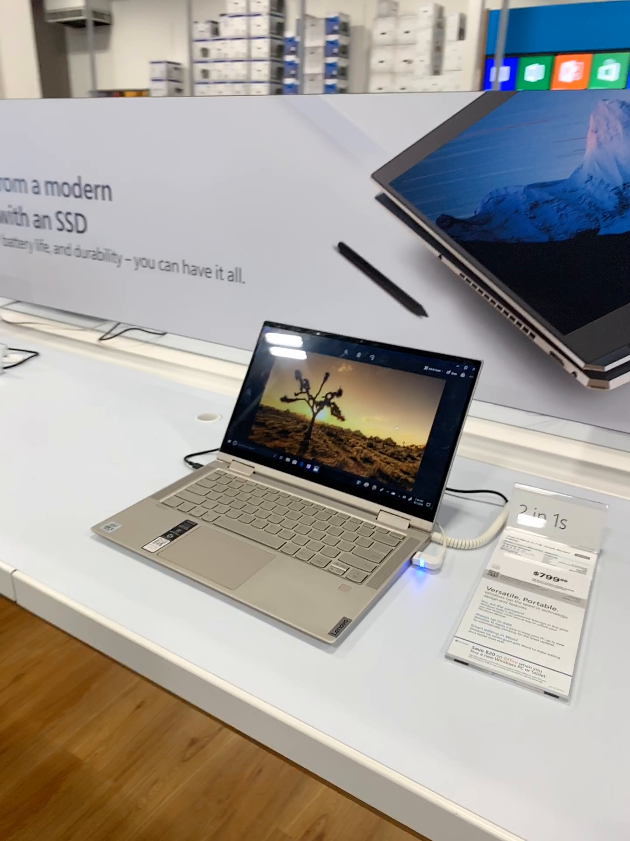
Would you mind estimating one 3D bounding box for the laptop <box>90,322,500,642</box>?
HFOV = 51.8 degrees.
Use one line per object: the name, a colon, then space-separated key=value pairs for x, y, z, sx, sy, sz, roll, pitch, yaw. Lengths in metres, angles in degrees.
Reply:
laptop: x=-0.010 y=0.028 z=0.740 sx=0.309 sy=0.170 sz=0.329 roll=15 pitch=27 yaw=31
